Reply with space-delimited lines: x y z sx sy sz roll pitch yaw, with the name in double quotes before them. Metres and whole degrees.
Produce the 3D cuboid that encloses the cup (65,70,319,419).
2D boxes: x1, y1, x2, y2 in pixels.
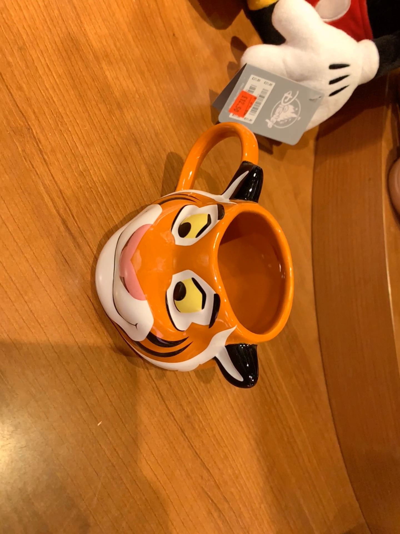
"cup" 0.002 -0.002 0.239 0.107 0.086 0.149 15 73 -45
